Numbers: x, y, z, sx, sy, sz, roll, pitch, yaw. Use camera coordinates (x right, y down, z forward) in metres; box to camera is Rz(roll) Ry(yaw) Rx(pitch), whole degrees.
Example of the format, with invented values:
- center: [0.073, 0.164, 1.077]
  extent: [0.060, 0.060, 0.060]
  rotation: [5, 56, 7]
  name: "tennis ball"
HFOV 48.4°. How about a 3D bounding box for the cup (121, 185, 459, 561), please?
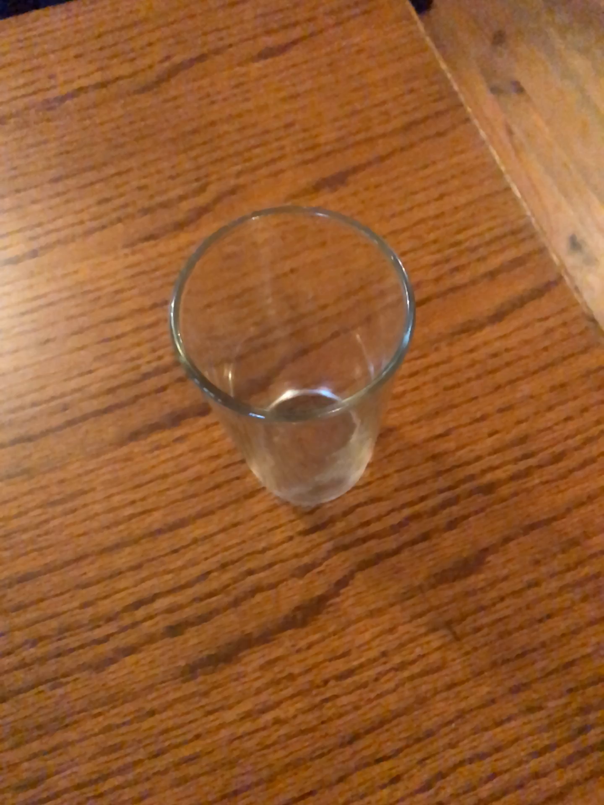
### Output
- center: [-0.003, -0.001, 0.310]
  extent: [0.091, 0.144, 0.089]
  rotation: [-1, 67, 3]
  name: "cup"
